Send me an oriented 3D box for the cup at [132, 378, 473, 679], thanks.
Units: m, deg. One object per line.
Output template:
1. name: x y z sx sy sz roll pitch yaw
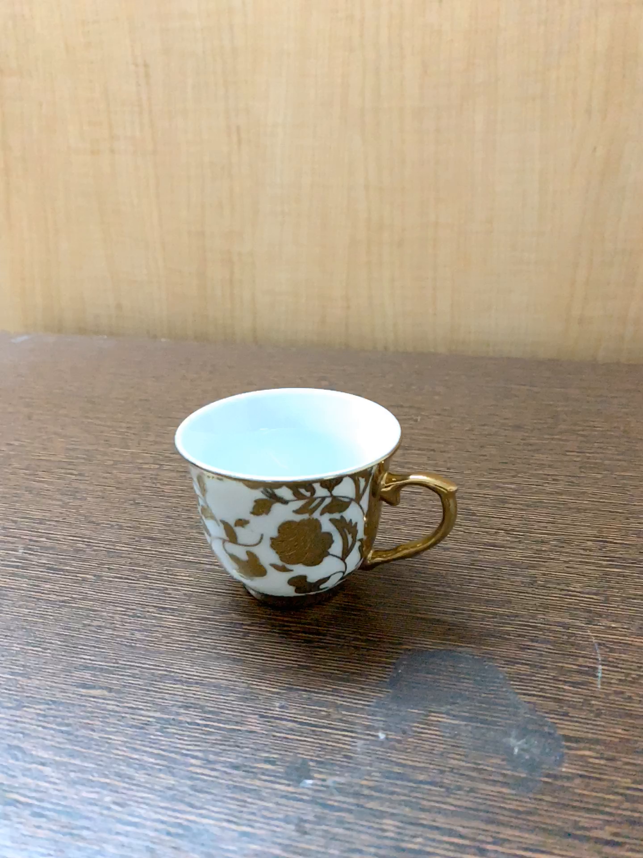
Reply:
1. cup: 0.000 0.023 0.204 0.080 0.050 0.070 7 24 17

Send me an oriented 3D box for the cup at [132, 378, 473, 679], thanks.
1. cup: 0.000 0.023 0.204 0.080 0.050 0.070 7 24 17
